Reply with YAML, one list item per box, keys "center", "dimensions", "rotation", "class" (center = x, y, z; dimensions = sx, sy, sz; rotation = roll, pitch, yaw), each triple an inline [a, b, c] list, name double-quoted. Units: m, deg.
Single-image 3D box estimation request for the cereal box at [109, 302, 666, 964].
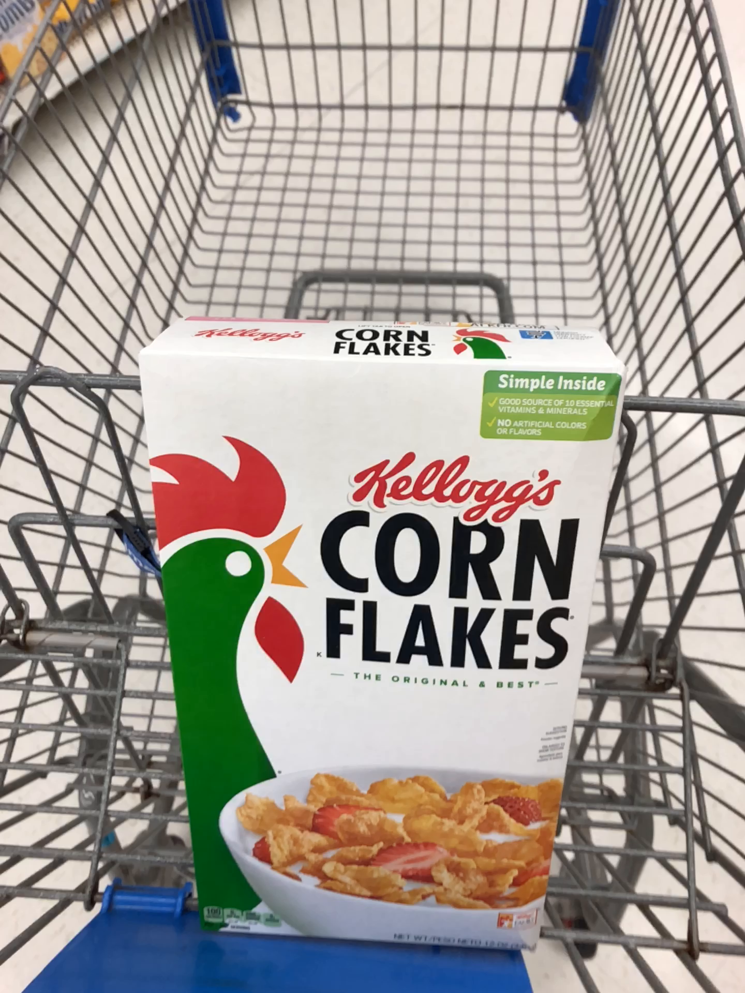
- center: [0.004, 0.083, 0.416]
  dimensions: [0.210, 0.340, 0.070]
  rotation: [2, 26, 3]
  class: "cereal box"
